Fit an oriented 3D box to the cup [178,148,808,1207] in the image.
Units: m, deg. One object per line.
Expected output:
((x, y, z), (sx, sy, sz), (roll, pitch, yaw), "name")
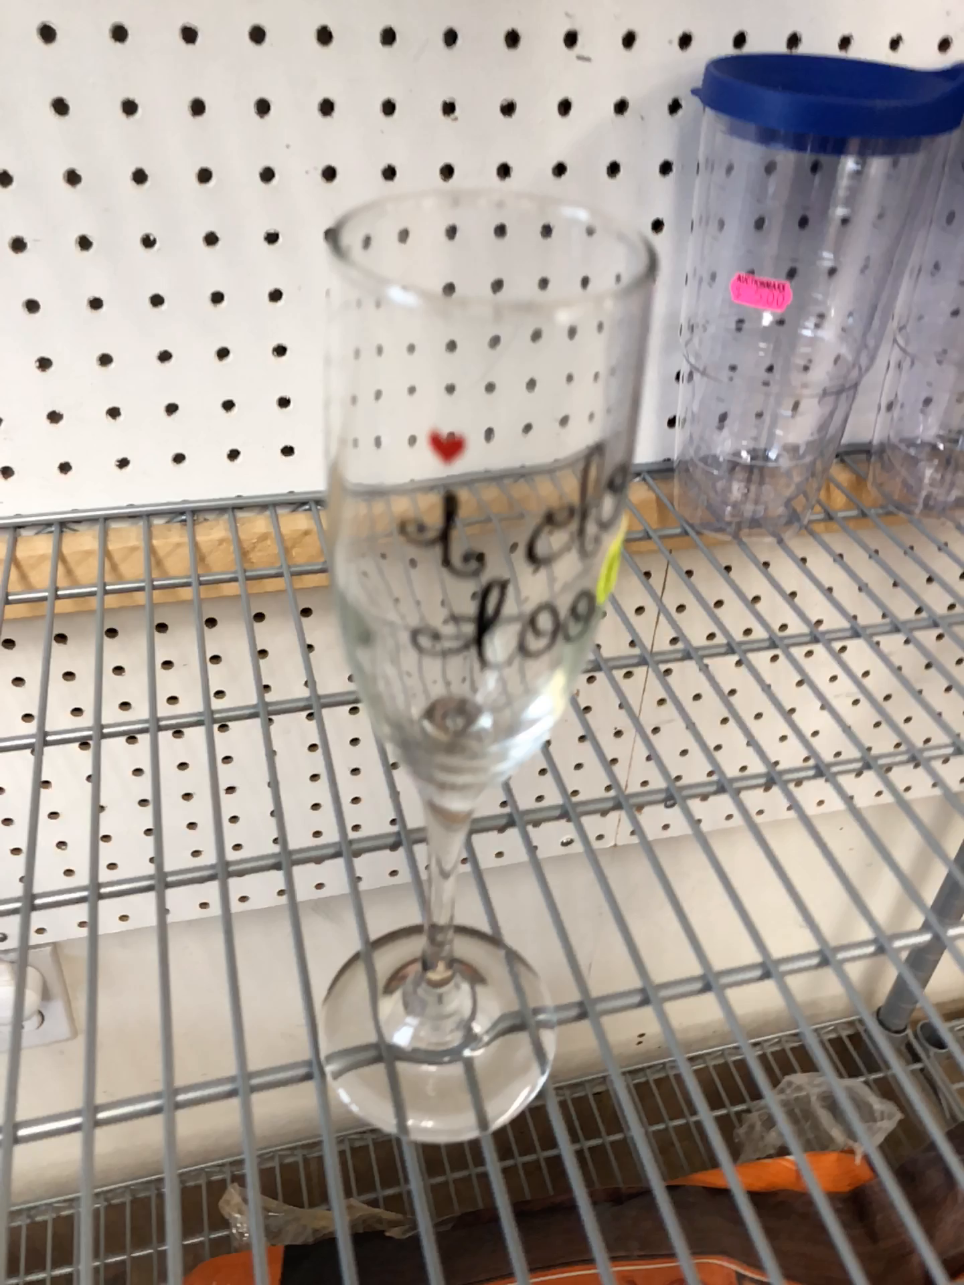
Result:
((-0.008, 0.020, 0.220), (0.070, 0.209, 0.069), (3, 37, -2), "cup")
